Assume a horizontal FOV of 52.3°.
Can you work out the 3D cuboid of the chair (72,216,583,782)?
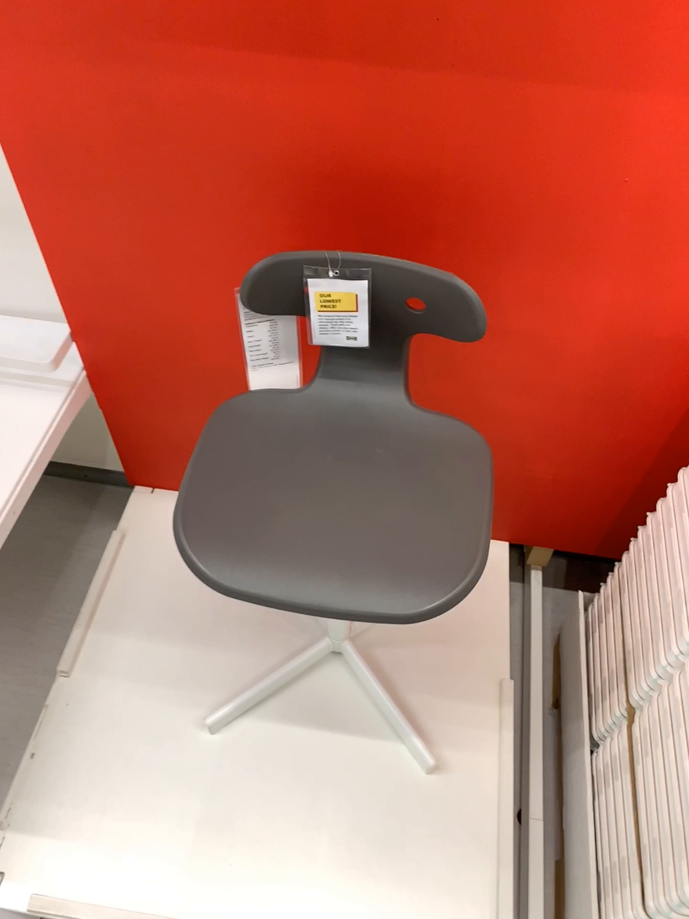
[{"bbox_3d":[0.008,0.102,1.034,0.460,0.698,0.452,8,51,5],"label":"chair"}]
